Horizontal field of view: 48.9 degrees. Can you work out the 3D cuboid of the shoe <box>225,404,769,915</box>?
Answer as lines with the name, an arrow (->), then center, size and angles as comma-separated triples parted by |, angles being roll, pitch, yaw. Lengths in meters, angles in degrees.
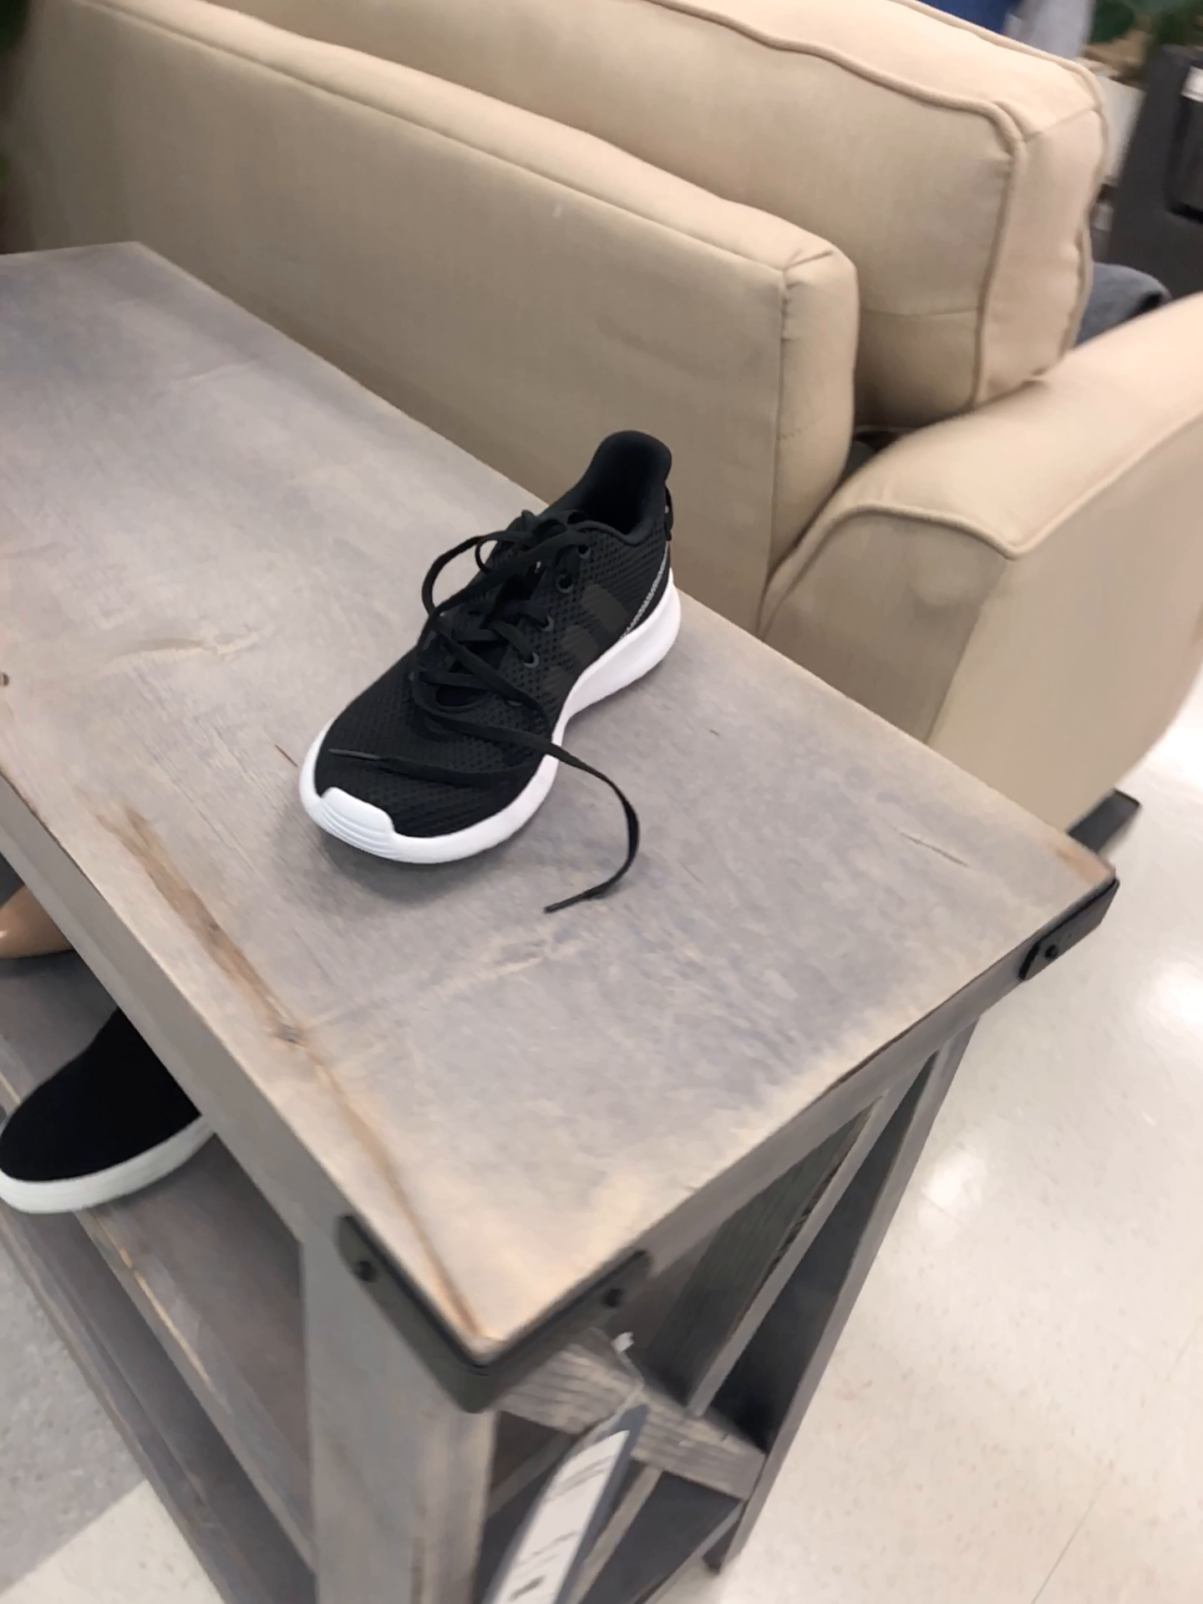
shoe -> -0.039, -0.088, 0.656 | 0.120, 0.109, 0.285 | 25, 41, 19
